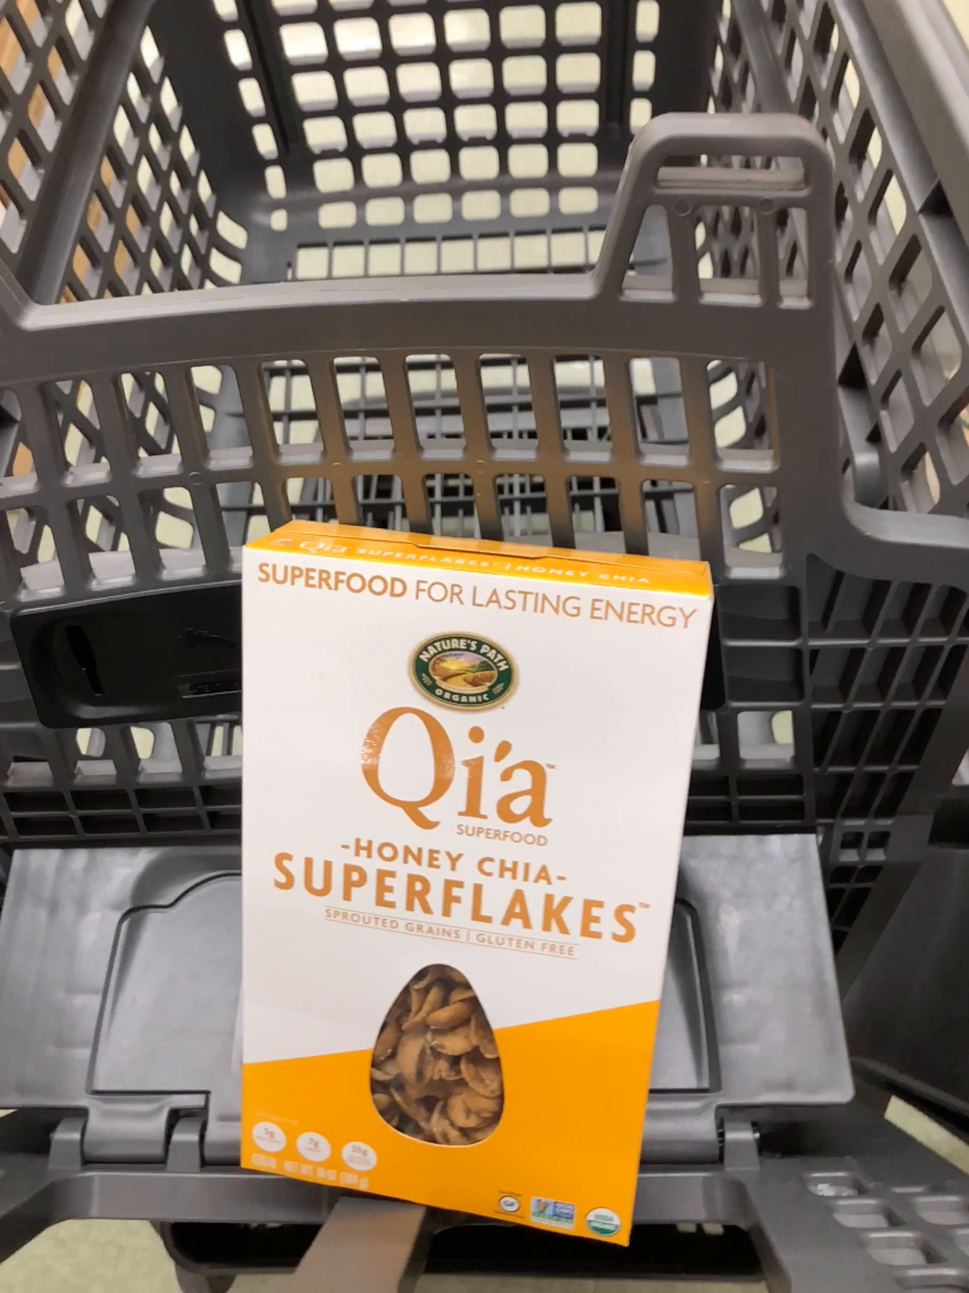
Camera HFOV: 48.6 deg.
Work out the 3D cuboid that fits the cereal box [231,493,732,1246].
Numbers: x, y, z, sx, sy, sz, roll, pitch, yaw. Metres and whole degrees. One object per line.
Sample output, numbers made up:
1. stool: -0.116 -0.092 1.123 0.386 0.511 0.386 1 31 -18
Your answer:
1. cereal box: -0.006 0.083 0.415 0.160 0.070 0.260 7 106 8
